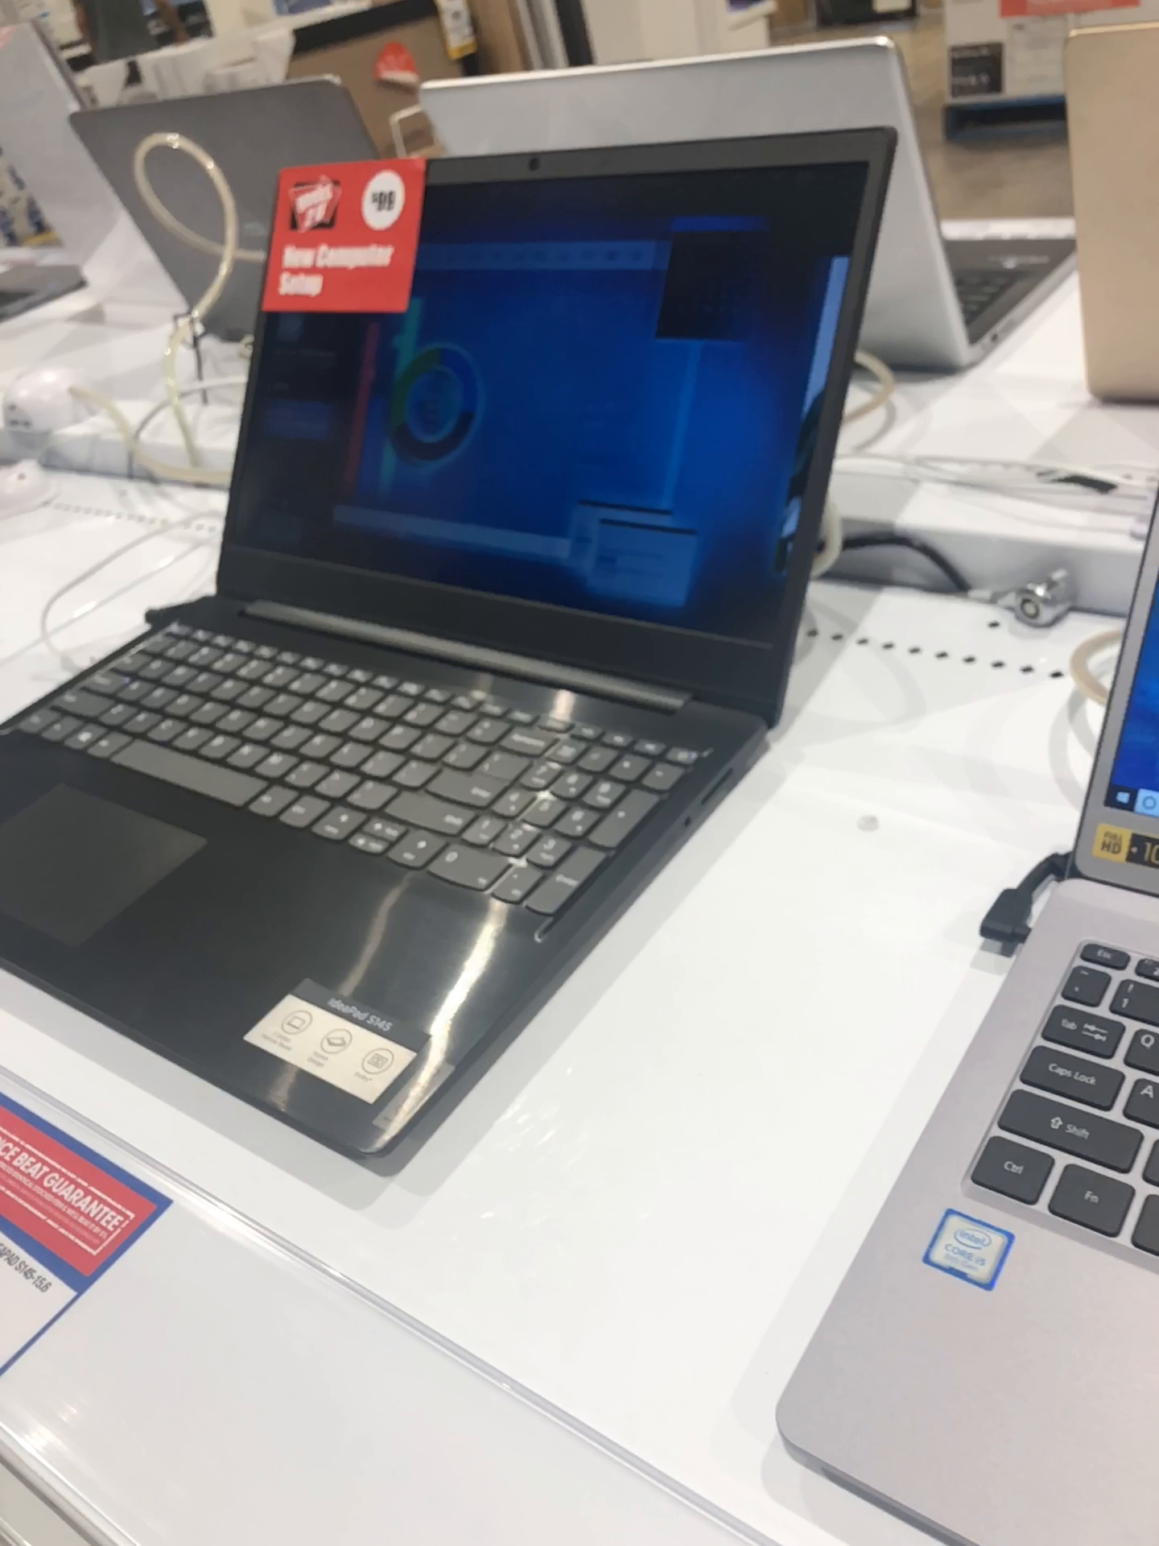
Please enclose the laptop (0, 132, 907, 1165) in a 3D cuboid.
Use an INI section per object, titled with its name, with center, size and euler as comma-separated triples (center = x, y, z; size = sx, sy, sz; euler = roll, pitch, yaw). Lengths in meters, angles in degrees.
[laptop]
center = -0.112, -0.104, 0.538
size = 0.353, 0.192, 0.373
euler = 15, 43, 34
